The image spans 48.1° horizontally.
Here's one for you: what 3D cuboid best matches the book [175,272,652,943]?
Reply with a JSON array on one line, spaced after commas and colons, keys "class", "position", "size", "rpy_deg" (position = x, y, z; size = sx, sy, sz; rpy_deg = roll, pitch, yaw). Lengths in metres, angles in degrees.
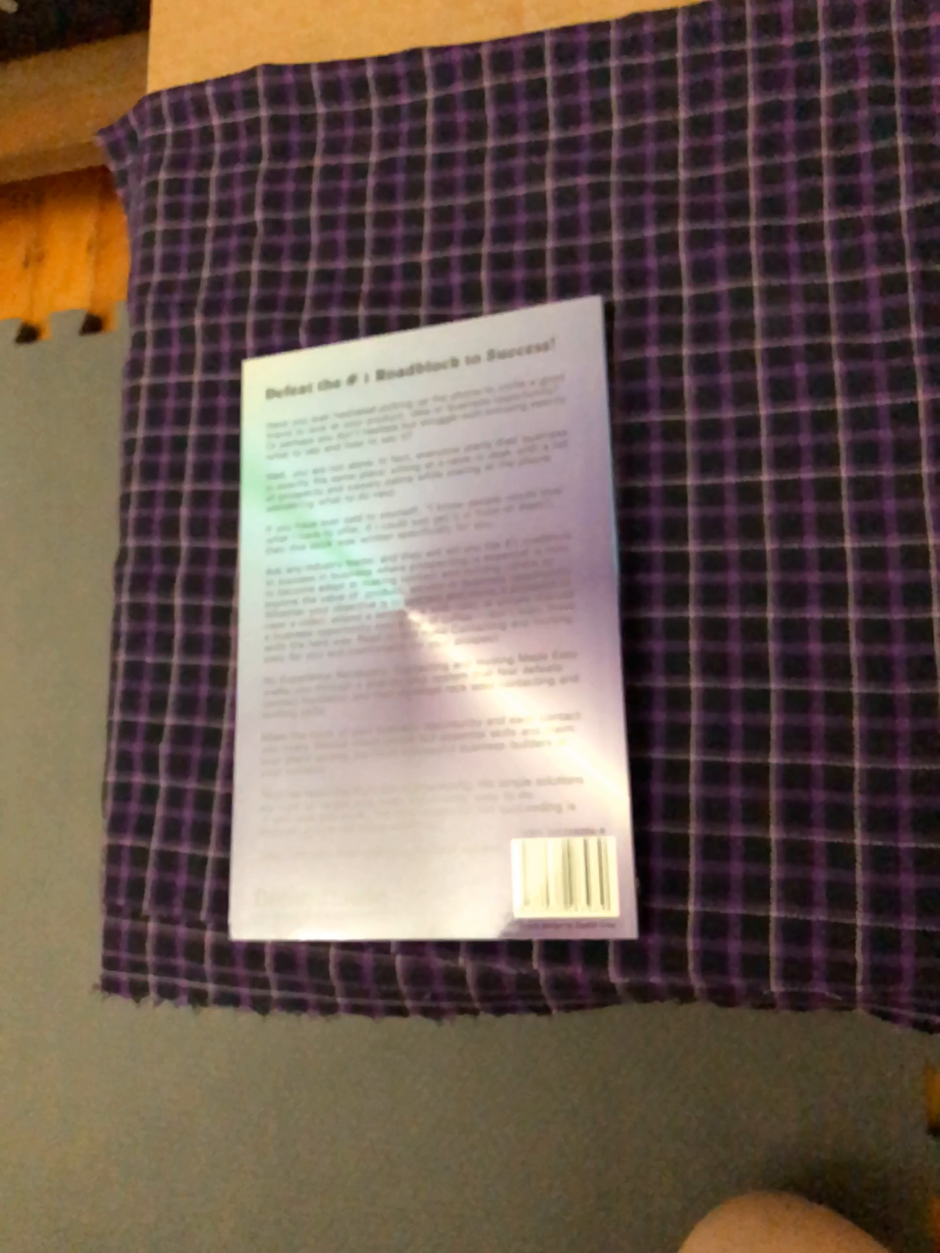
[{"class": "book", "position": [-0.025, -0.004, 0.370], "size": [0.160, 0.020, 0.220], "rpy_deg": [-6, 77, 18]}]
